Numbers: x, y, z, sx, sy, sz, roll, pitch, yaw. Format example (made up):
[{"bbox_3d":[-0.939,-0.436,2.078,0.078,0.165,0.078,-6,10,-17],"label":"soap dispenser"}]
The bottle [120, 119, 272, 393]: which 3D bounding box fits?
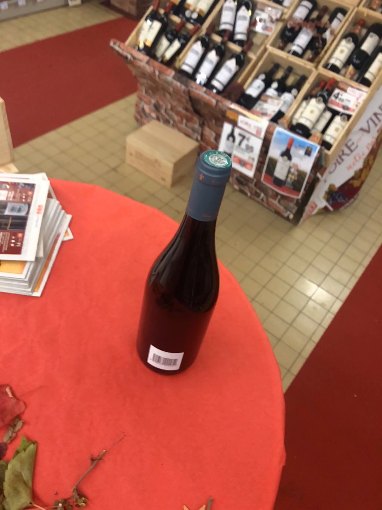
[{"bbox_3d":[-0.009,0.025,0.429,0.090,0.288,0.091,6,48,-6],"label":"bottle"}]
